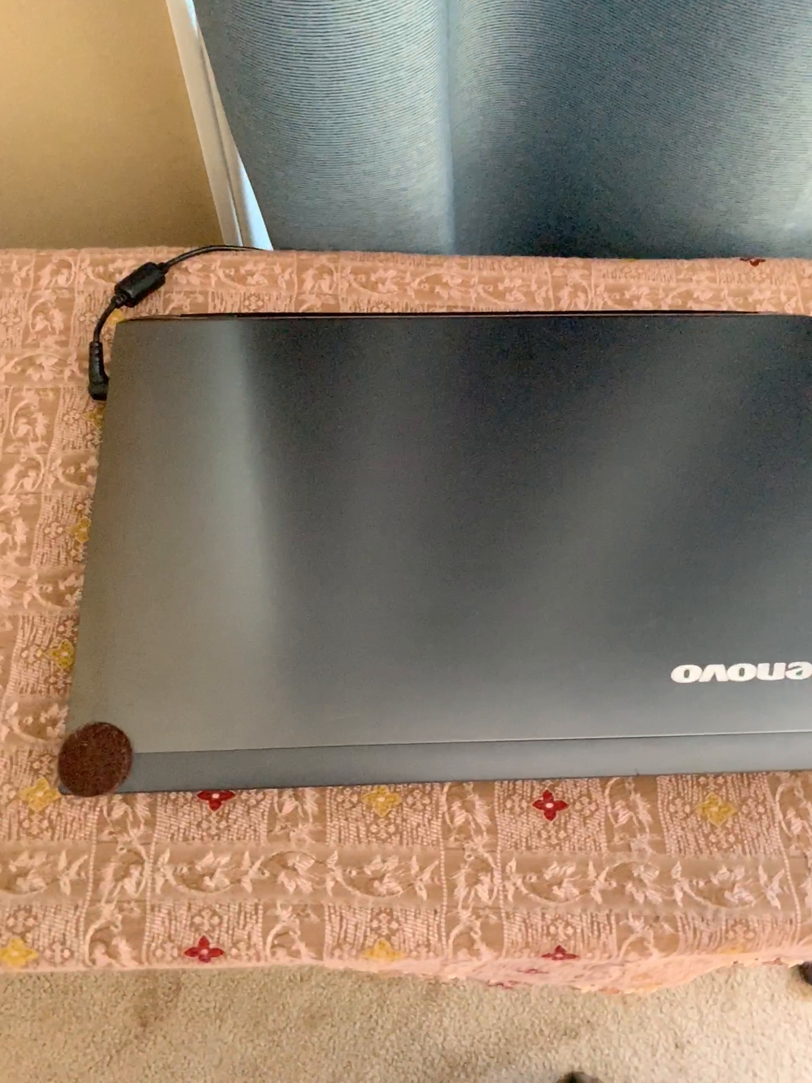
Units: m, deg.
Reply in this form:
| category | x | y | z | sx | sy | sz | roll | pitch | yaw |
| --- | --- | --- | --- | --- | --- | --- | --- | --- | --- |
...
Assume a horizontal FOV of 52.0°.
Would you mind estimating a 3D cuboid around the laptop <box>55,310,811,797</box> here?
| category | x | y | z | sx | sy | sz | roll | pitch | yaw |
| --- | --- | --- | --- | --- | --- | --- | --- | --- | --- |
| laptop | 0.036 | -0.006 | 0.383 | 0.356 | 0.011 | 0.223 | -1 | 68 | -1 |
